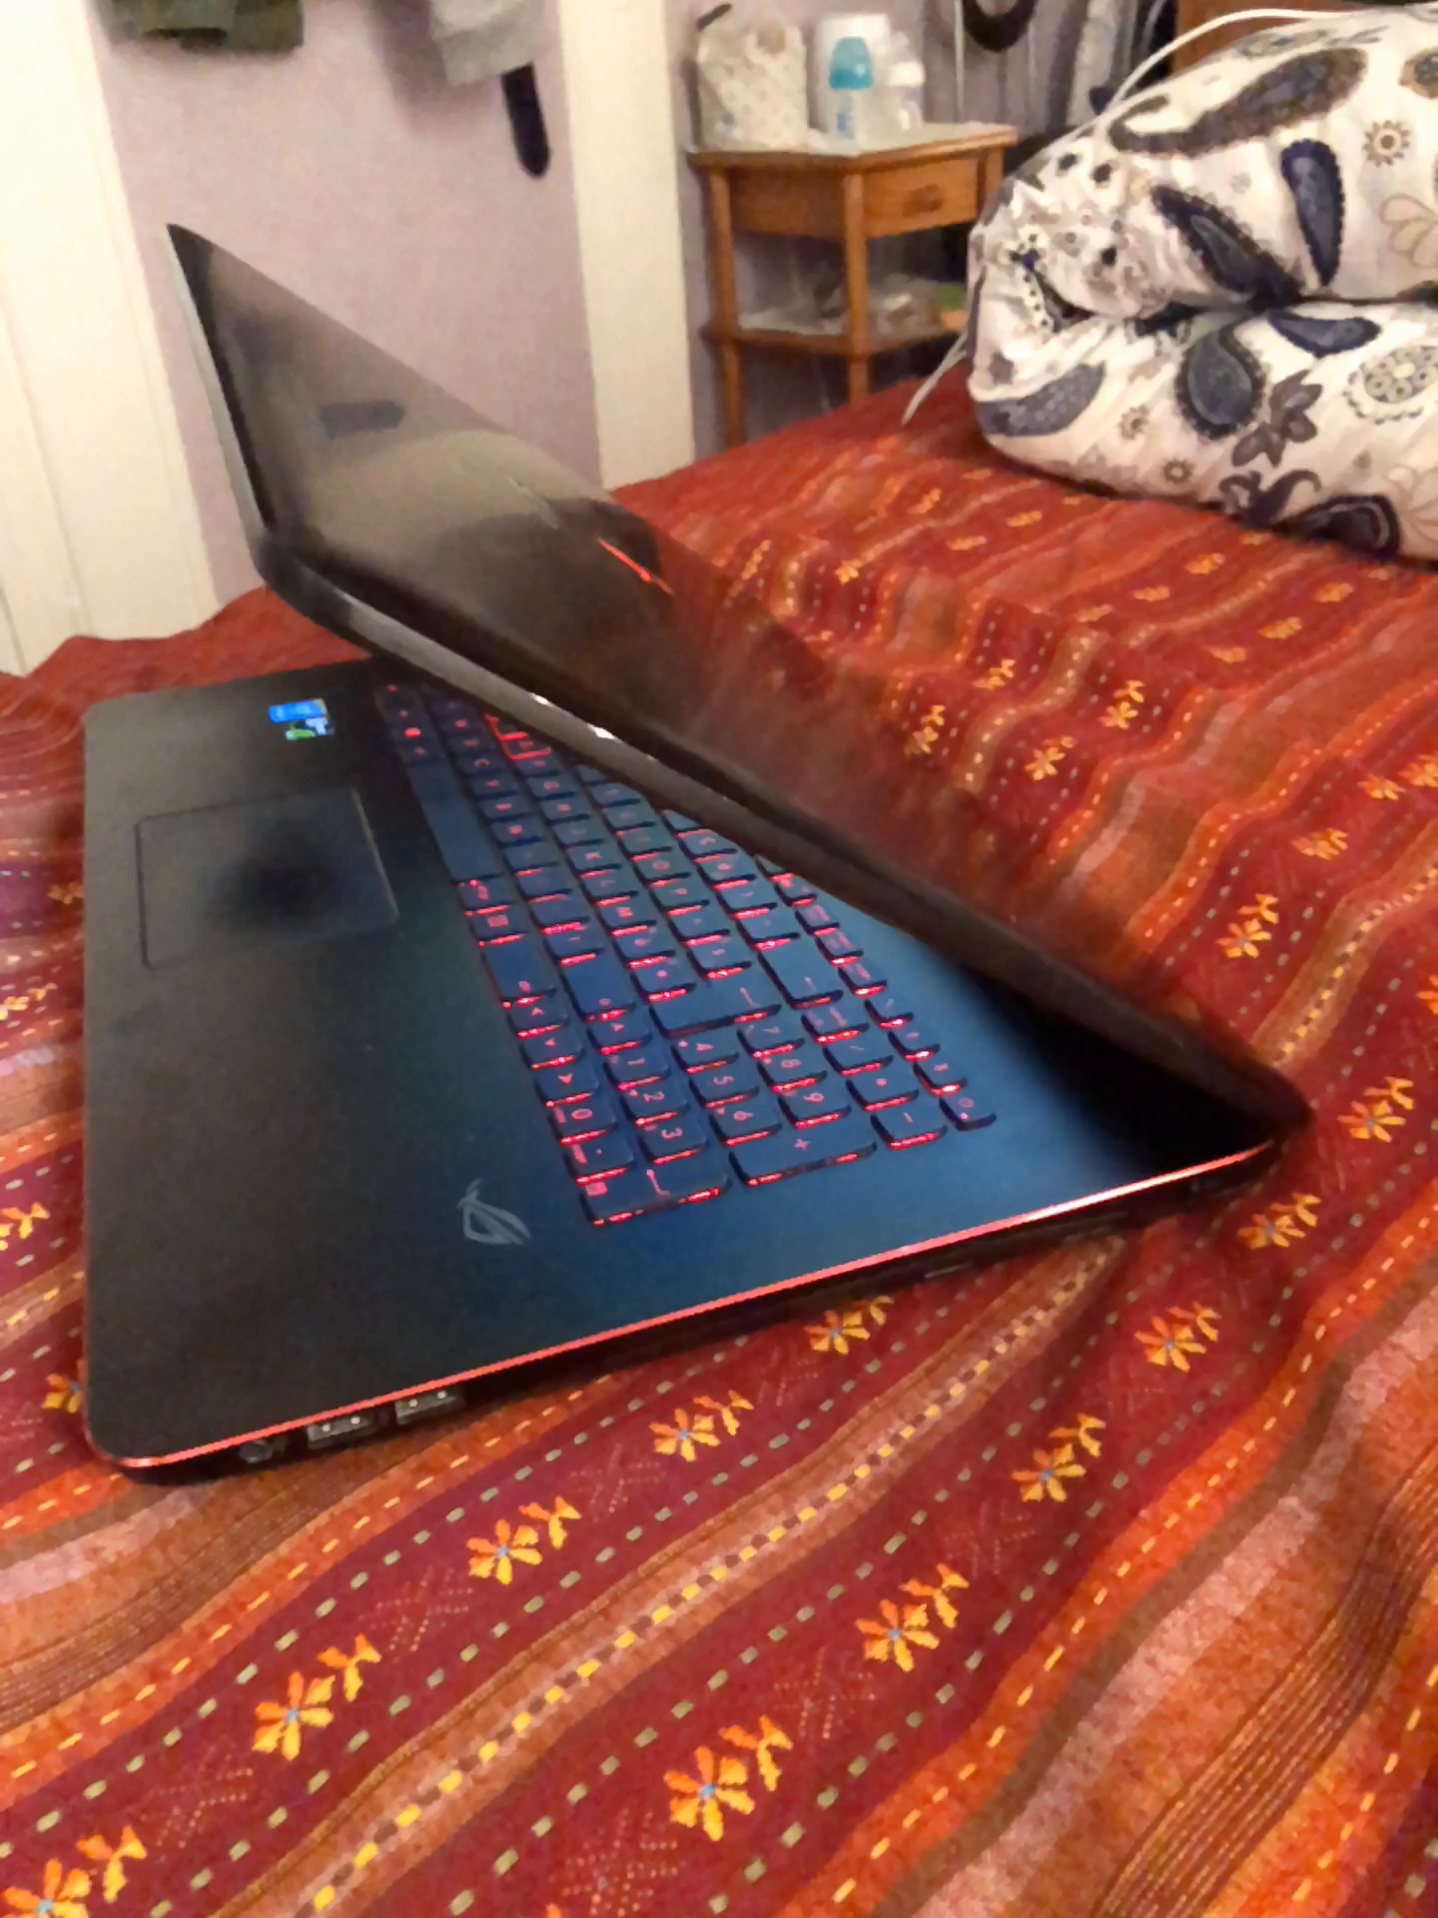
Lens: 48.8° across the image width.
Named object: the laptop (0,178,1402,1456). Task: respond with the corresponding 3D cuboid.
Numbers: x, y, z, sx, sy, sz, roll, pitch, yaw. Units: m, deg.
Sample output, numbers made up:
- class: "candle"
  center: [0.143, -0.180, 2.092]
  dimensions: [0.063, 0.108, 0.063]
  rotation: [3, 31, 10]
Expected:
- class: "laptop"
  center: [-0.060, -0.103, 0.459]
  dimensions: [0.268, 0.168, 0.400]
  rotation: [-12, 33, -14]
